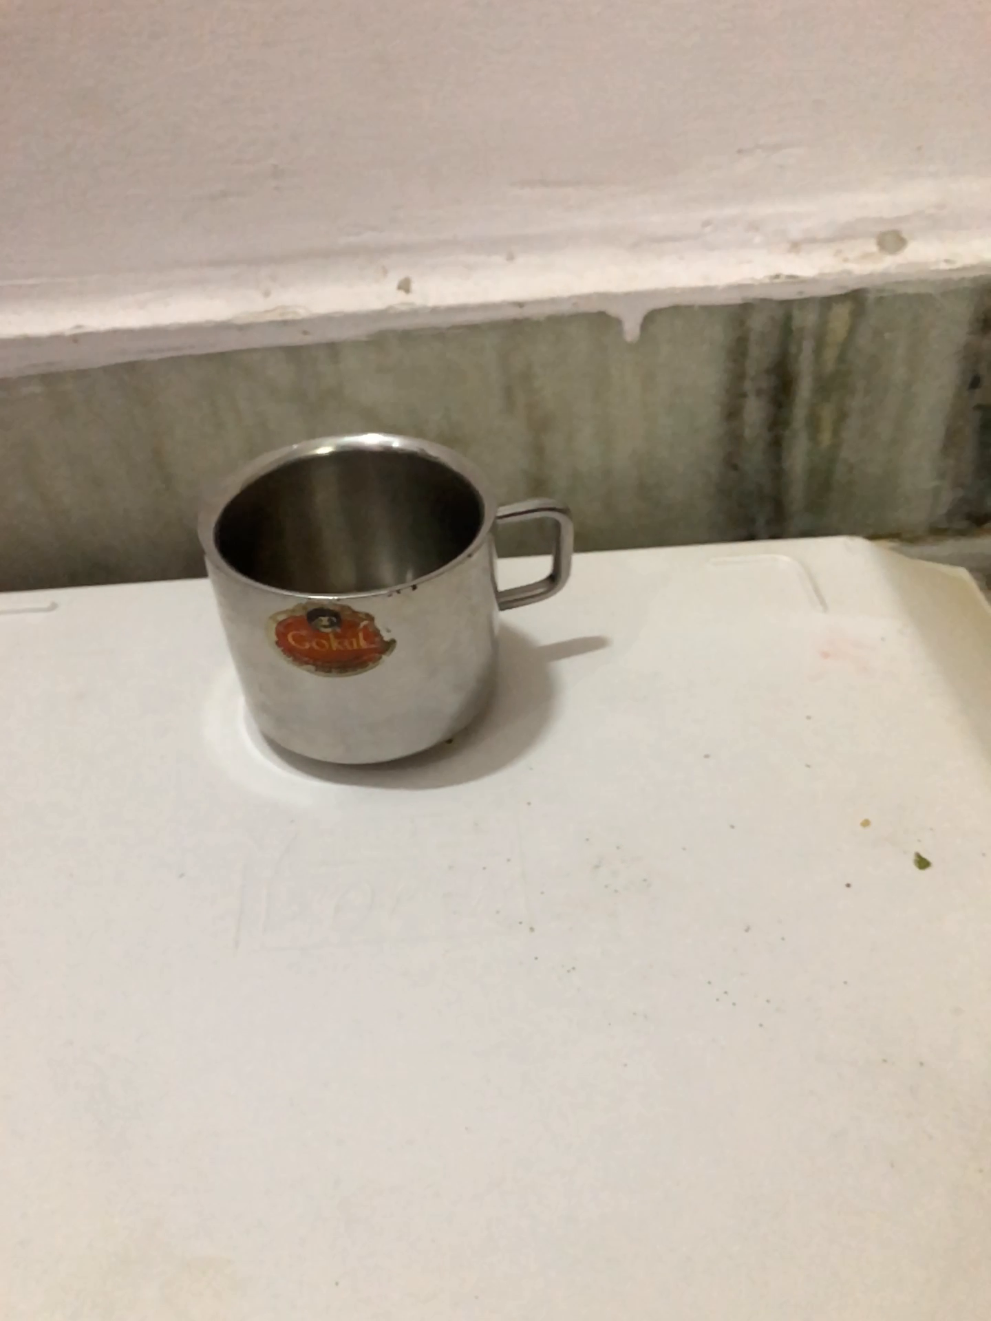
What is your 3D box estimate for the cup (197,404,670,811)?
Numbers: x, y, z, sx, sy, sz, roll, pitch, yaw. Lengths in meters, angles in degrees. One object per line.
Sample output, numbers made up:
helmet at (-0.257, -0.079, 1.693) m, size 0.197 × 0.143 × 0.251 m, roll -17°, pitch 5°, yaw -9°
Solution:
cup at (-0.019, -0.018, 0.280) m, size 0.100 × 0.050 × 0.080 m, roll -10°, pitch 40°, yaw -9°
